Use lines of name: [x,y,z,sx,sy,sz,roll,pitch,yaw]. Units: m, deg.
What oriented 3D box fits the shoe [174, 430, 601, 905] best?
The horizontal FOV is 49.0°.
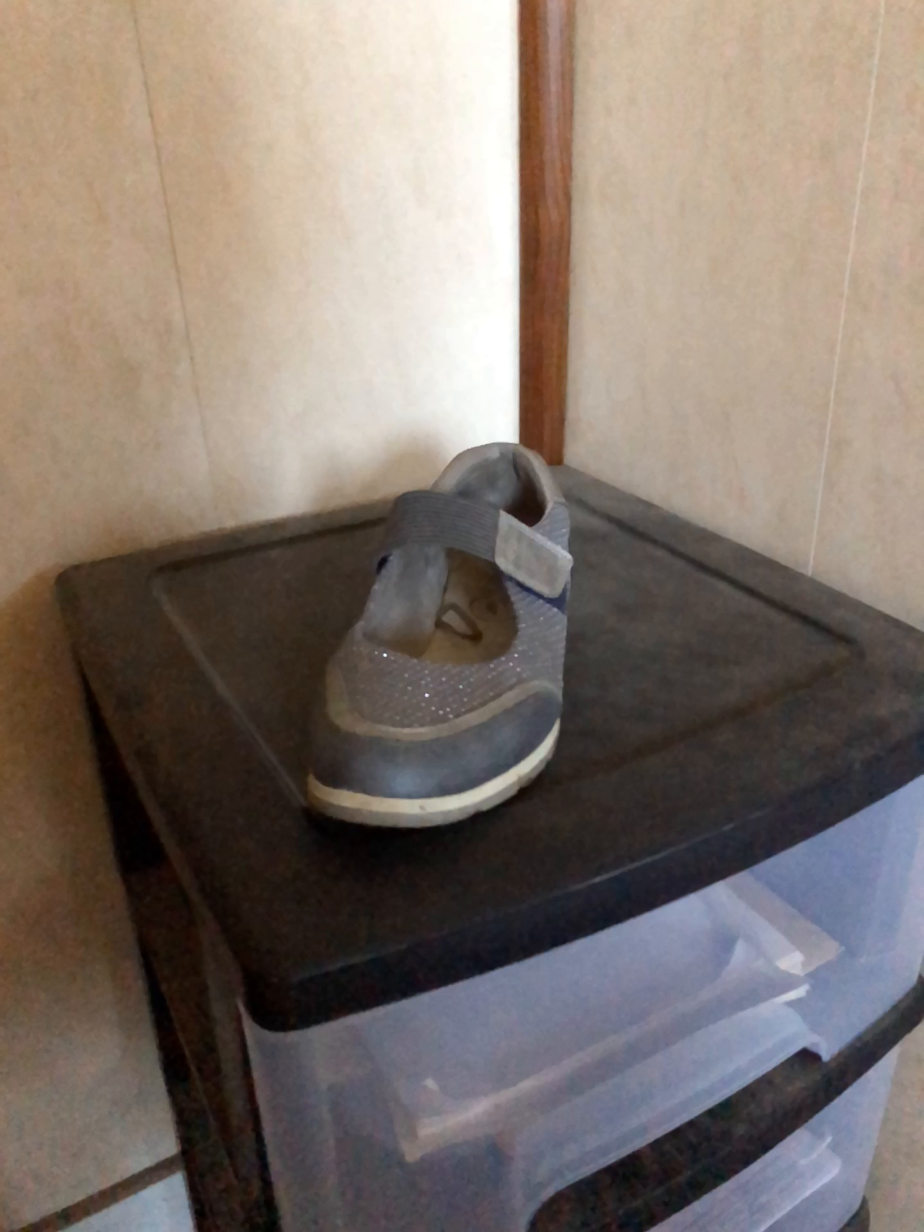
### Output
shoe: [-0.008,-0.002,0.444,0.110,0.080,0.262,4,28,12]
